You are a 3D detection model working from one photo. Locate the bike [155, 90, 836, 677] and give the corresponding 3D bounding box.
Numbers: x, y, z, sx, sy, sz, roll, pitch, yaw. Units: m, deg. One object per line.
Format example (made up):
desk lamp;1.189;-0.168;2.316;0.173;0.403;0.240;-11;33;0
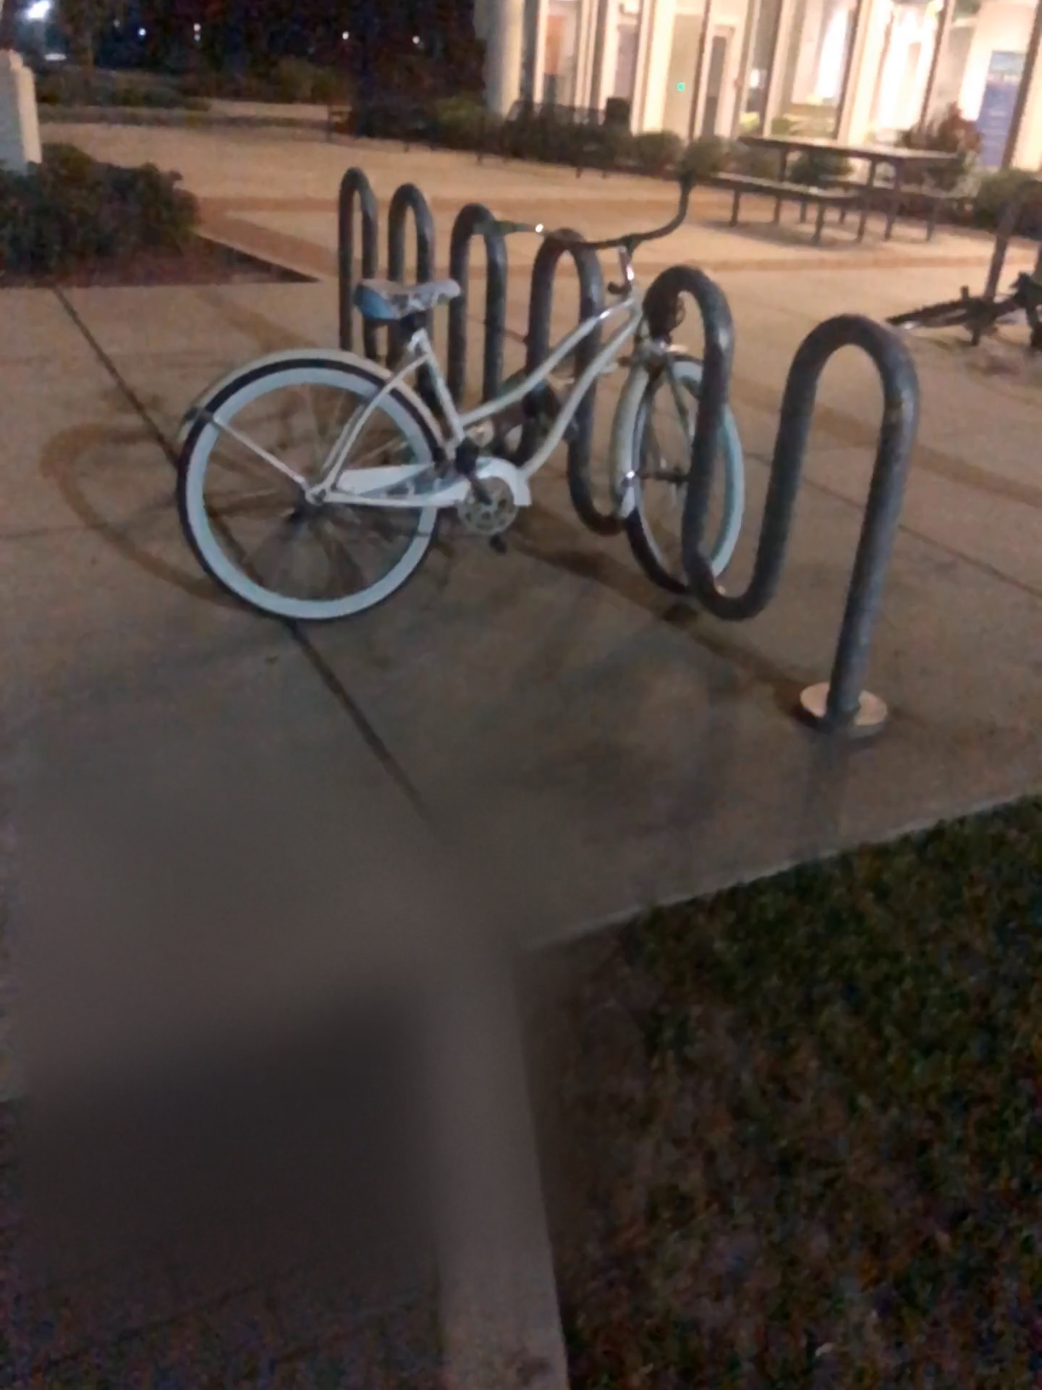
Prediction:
bike;-0.086;-0.939;3.065;1.681;1.094;0.743;-15;33;-24
